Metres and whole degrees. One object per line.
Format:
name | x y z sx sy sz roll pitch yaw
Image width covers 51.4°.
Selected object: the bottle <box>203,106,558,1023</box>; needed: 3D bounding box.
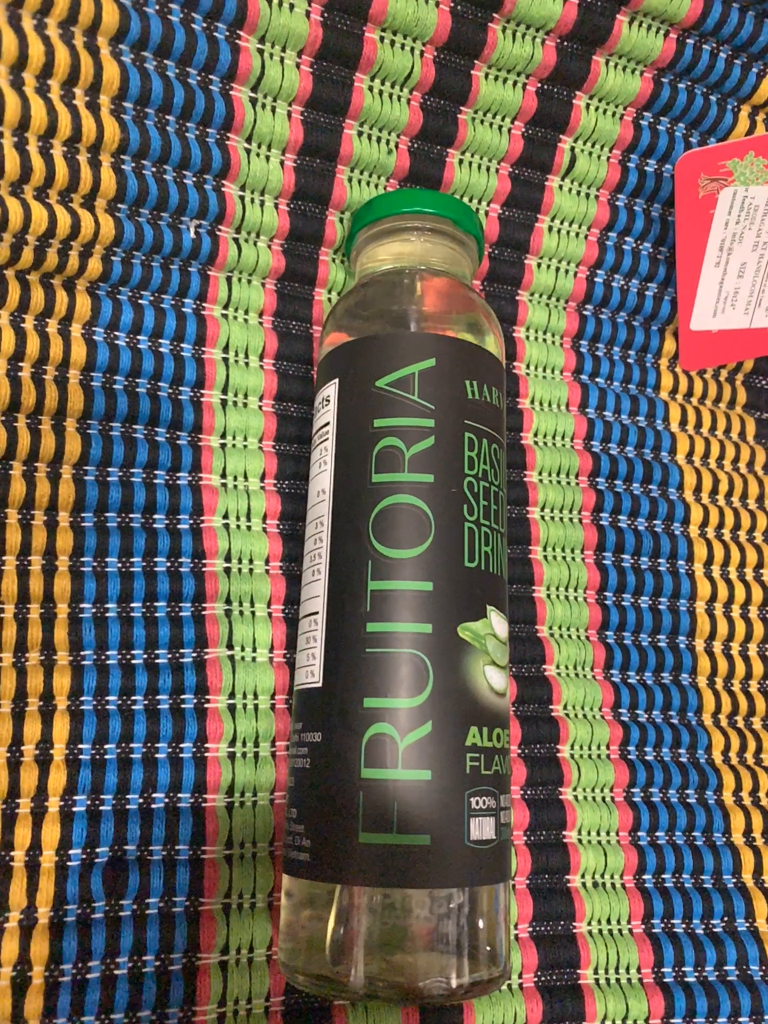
bottle | 0.005 0.011 0.199 0.050 0.060 0.200 21 68 -52
